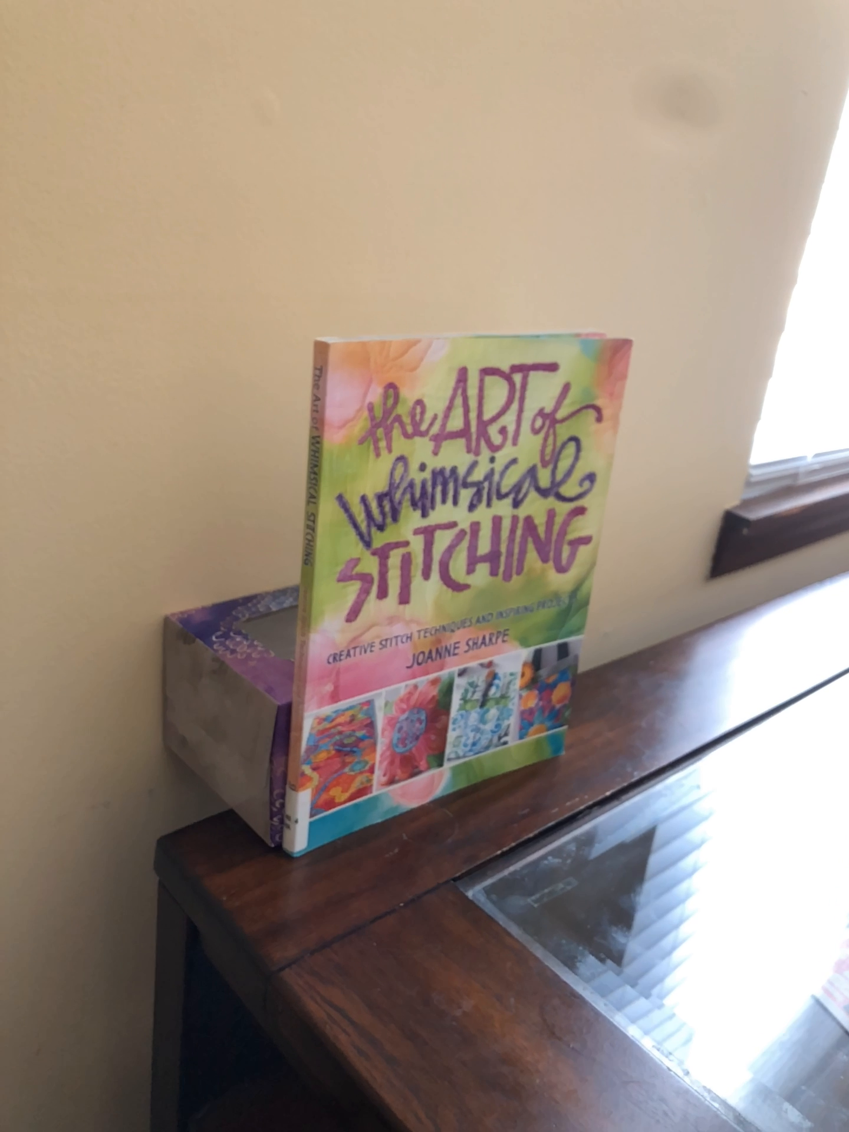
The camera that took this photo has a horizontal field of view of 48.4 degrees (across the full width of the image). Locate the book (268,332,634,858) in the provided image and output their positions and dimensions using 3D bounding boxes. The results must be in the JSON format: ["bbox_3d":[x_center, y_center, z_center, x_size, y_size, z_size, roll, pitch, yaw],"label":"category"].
[{"bbox_3d":[0.017,0.007,0.524,0.214,0.263,0.029,-11,24,-38],"label":"book"}]
